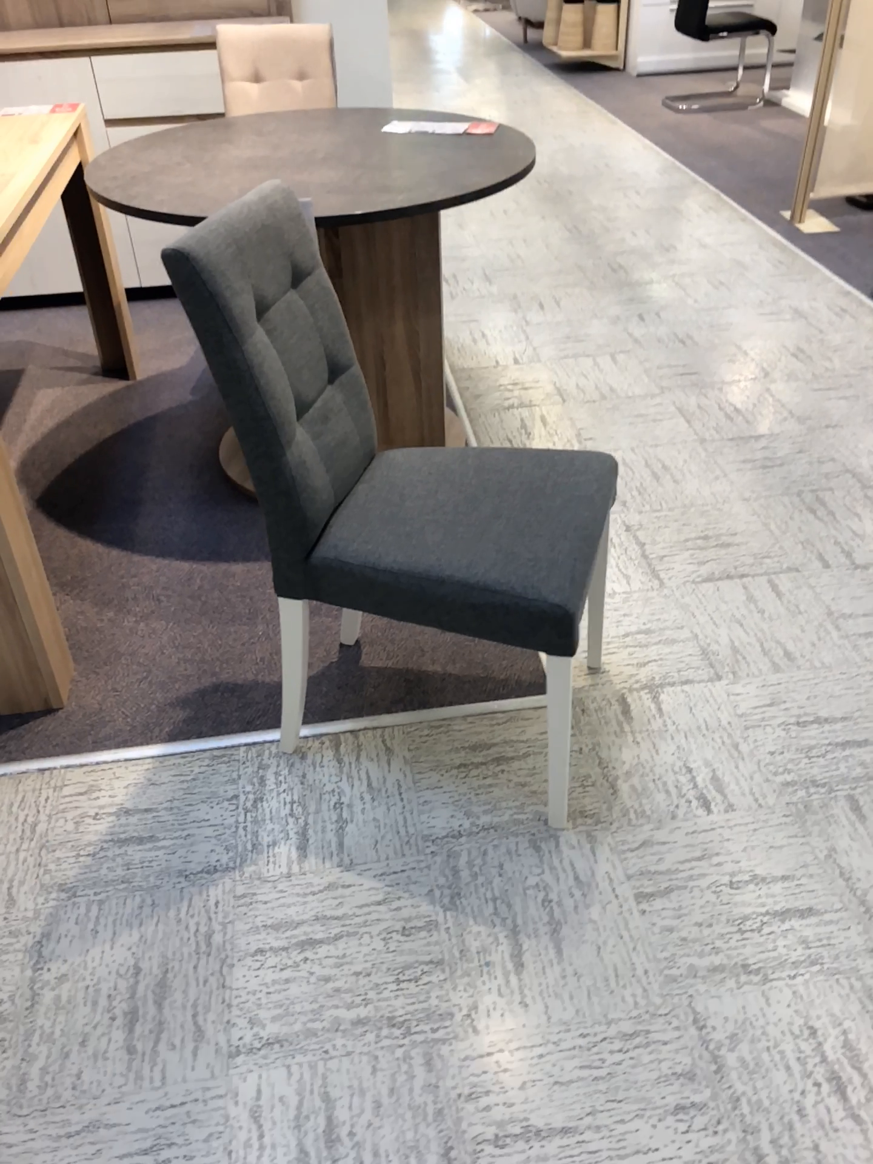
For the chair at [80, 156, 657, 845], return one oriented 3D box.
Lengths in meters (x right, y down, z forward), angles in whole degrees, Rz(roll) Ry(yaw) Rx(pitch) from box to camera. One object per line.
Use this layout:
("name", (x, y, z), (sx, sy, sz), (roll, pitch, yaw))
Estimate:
("chair", (-0.036, -0.124, 1.406), (0.580, 0.825, 0.463), (8, 37, 15))
